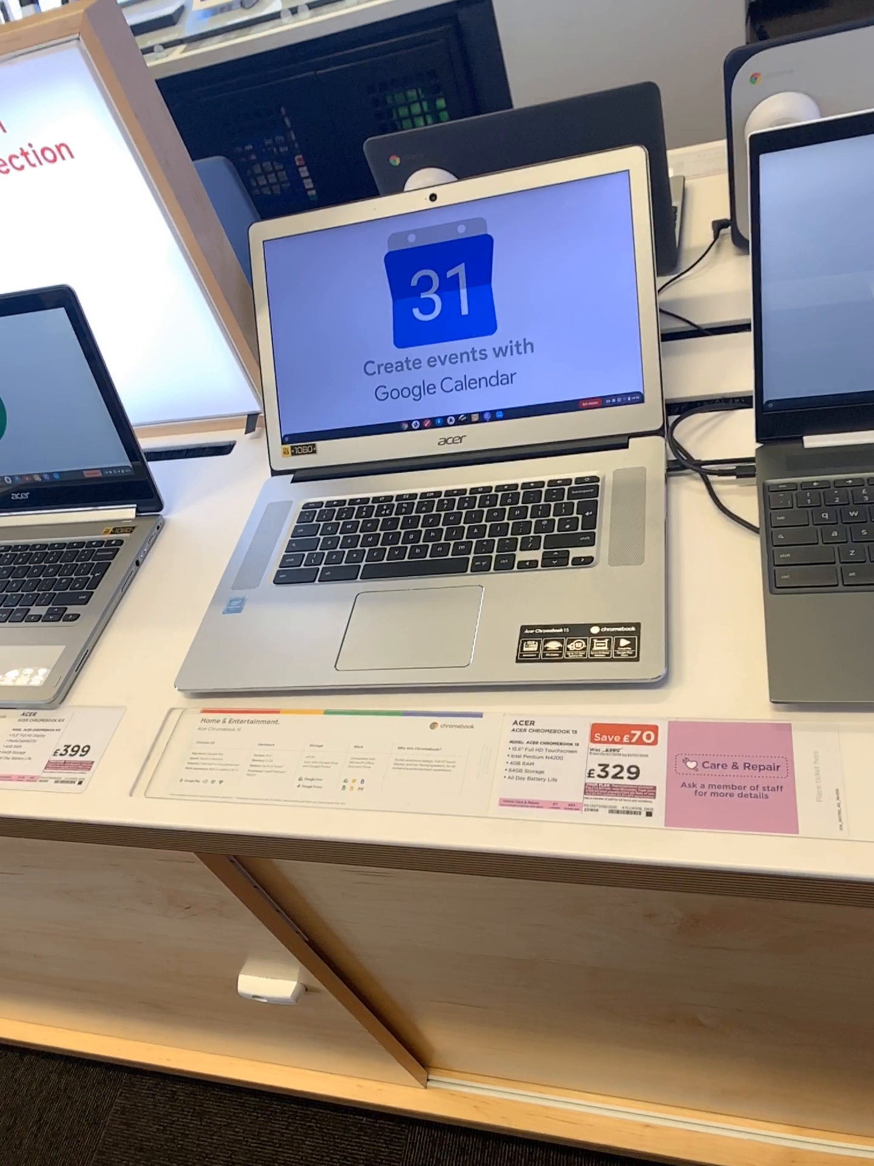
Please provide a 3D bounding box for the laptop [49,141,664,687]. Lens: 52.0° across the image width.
[{"bbox_3d":[-0.017,-0.146,0.731,0.375,0.168,0.433,-3,46,18],"label":"laptop"}]
